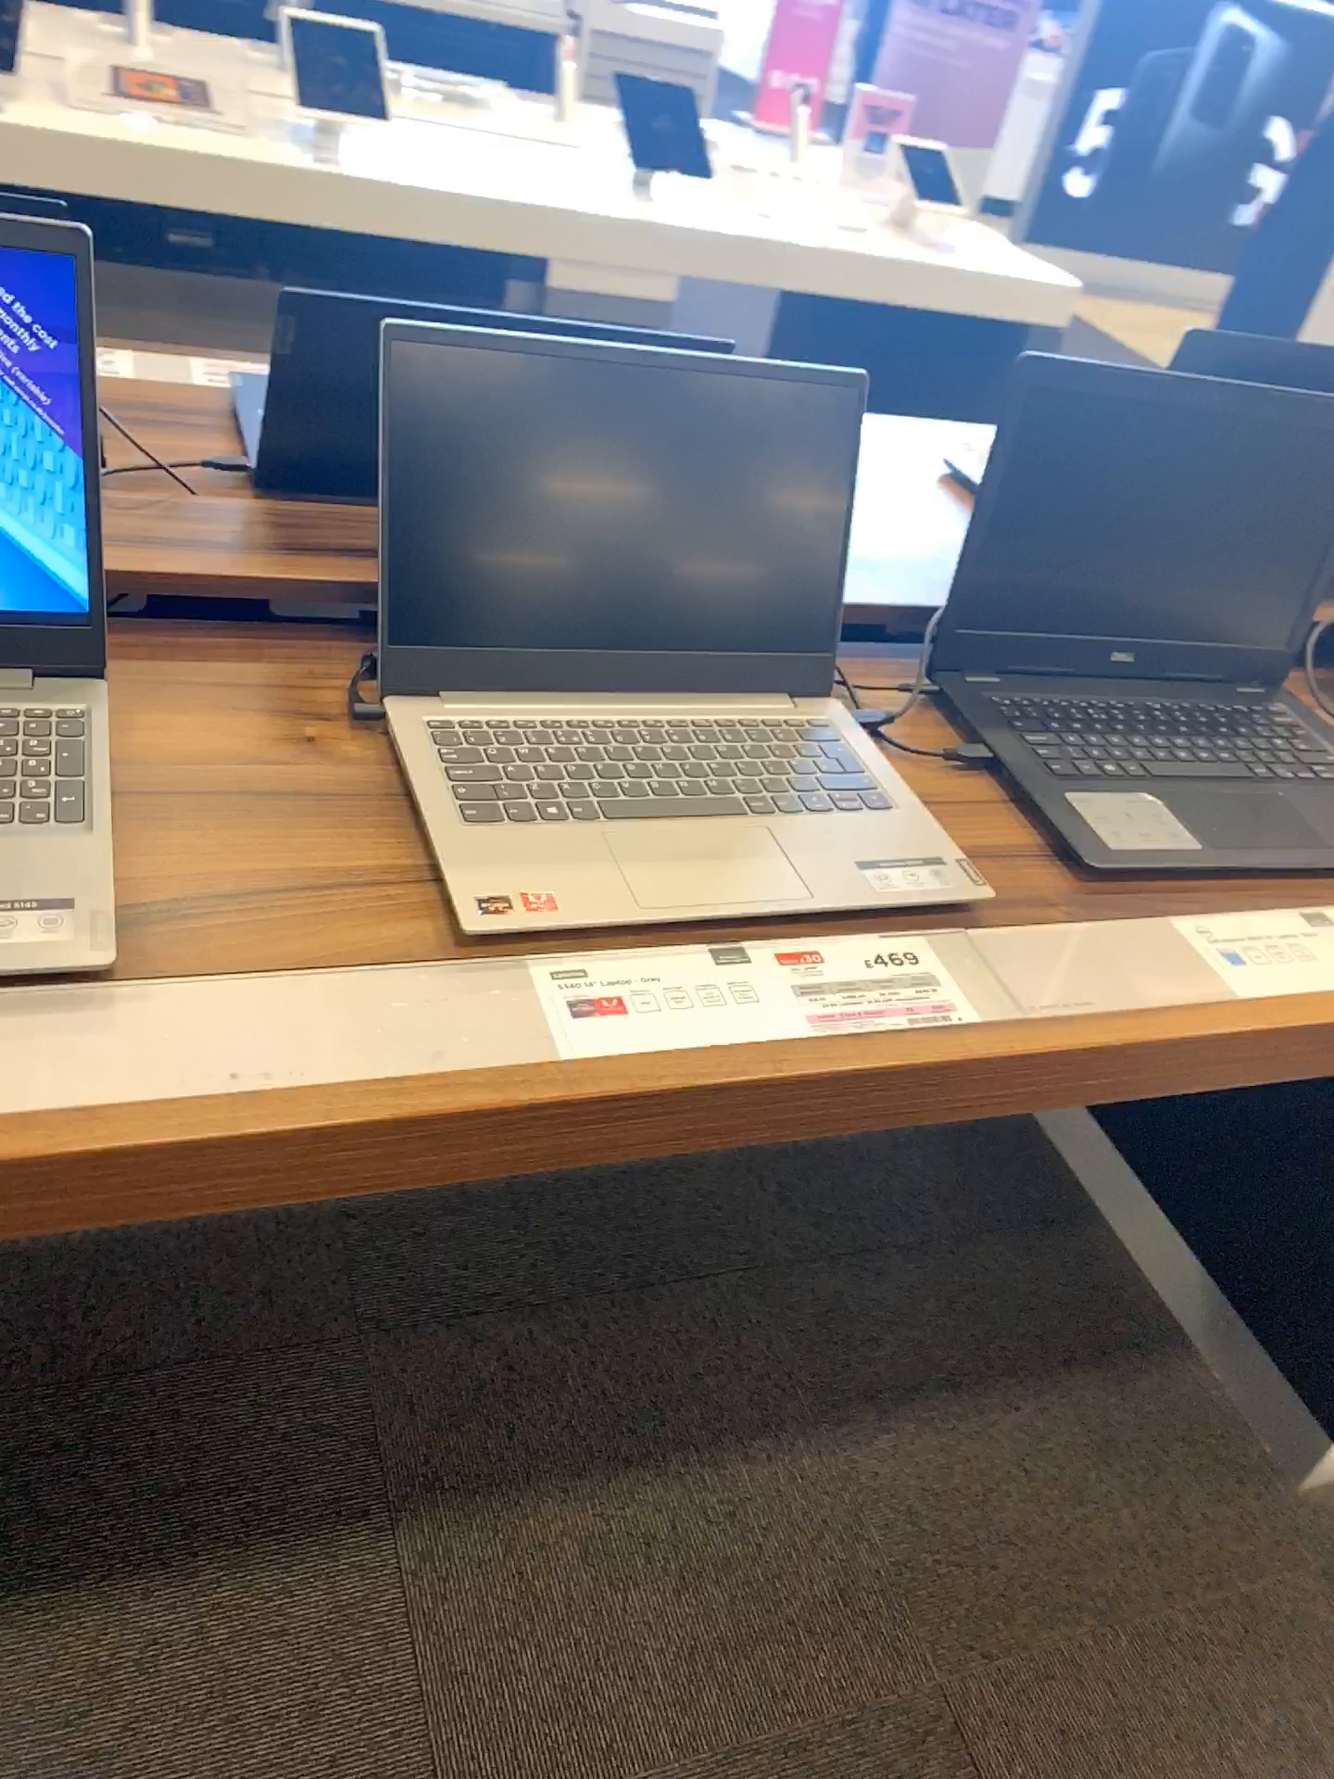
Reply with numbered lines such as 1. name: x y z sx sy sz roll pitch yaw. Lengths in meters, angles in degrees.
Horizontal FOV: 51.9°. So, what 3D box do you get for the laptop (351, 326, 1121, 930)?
1. laptop: 0.010 -0.155 0.786 0.316 0.199 0.296 -3 39 -22
